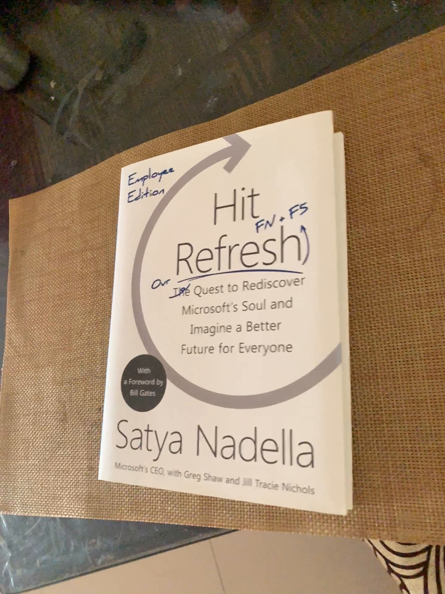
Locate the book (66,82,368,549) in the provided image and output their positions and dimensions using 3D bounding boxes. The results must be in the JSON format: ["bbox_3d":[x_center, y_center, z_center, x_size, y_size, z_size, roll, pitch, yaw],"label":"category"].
[{"bbox_3d":[-0.007,0.006,0.306,0.190,0.040,0.250,-4,76,29],"label":"book"}]
